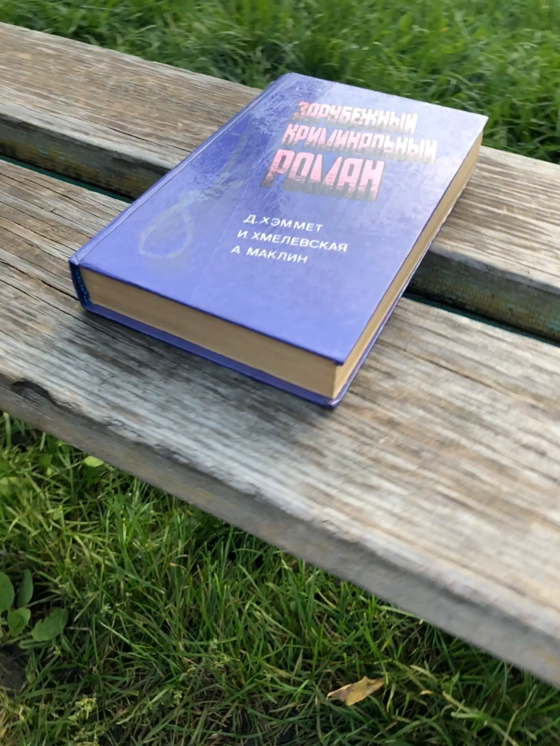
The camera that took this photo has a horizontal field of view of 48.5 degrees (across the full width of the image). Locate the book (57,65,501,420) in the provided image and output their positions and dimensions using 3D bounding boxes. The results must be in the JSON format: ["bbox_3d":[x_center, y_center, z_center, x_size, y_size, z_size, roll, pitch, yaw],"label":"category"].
[{"bbox_3d":[0.014,-0.083,0.304,0.131,0.030,0.205,21,52,17],"label":"book"}]
